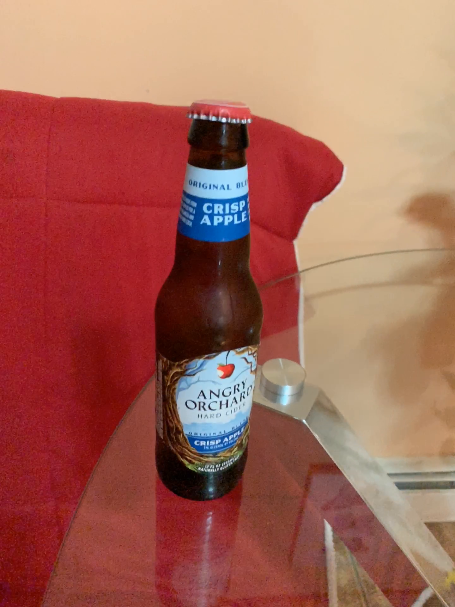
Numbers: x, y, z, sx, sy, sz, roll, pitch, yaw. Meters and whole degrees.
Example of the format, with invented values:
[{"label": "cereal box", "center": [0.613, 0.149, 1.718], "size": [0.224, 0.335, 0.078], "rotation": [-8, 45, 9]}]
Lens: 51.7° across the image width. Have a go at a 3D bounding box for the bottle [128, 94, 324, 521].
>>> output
[{"label": "bottle", "center": [-0.013, 0.009, 0.273], "size": [0.070, 0.231, 0.070], "rotation": [4, 27, -2]}]
